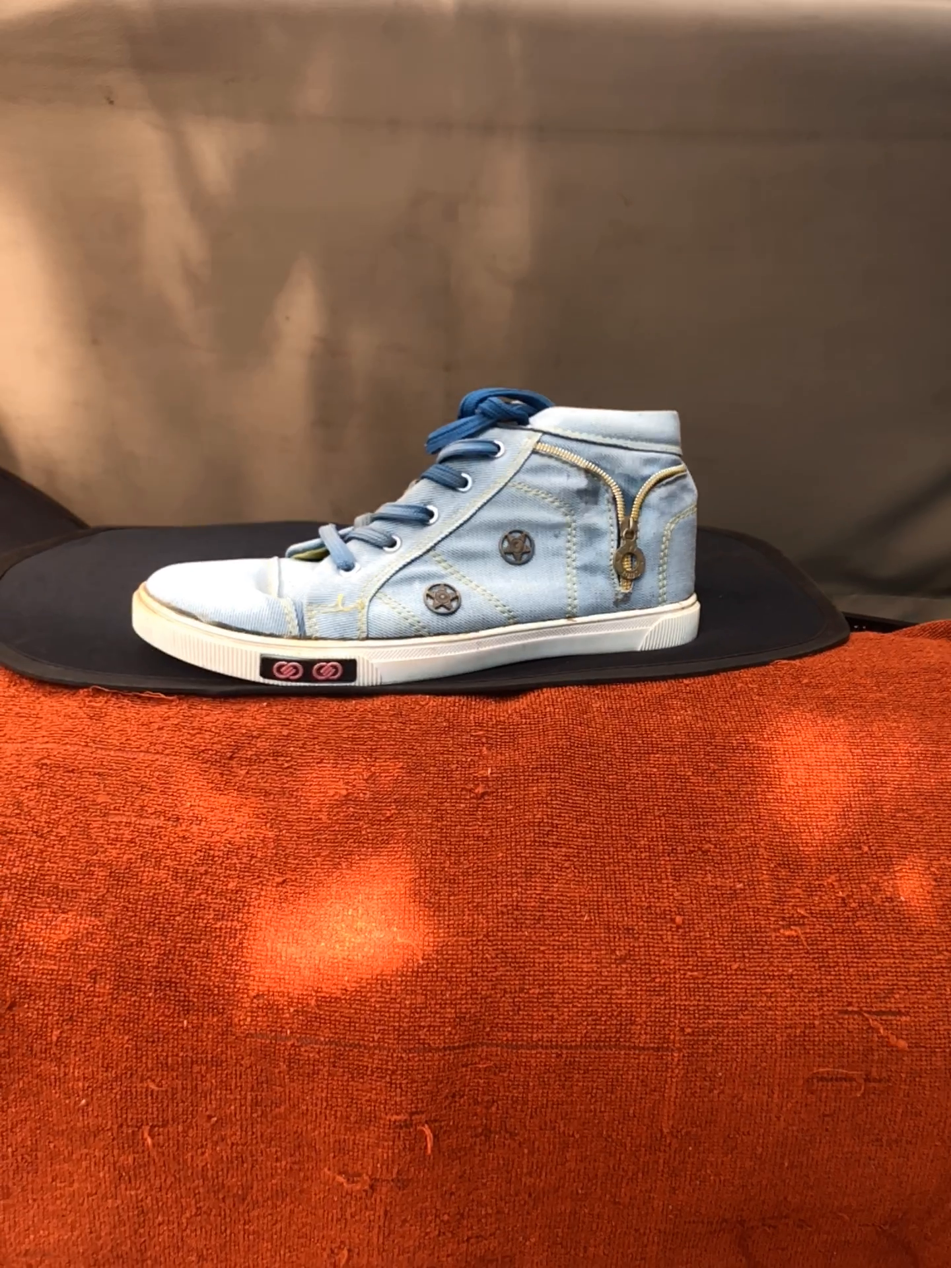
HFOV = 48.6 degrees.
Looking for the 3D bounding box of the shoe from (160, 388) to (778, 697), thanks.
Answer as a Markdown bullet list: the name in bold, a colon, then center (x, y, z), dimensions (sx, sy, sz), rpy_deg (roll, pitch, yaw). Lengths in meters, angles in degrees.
- **shoe**: center (-0.008, -0.052, 0.496), dimensions (0.260, 0.110, 0.110), rpy_deg (-3, 20, -18)
